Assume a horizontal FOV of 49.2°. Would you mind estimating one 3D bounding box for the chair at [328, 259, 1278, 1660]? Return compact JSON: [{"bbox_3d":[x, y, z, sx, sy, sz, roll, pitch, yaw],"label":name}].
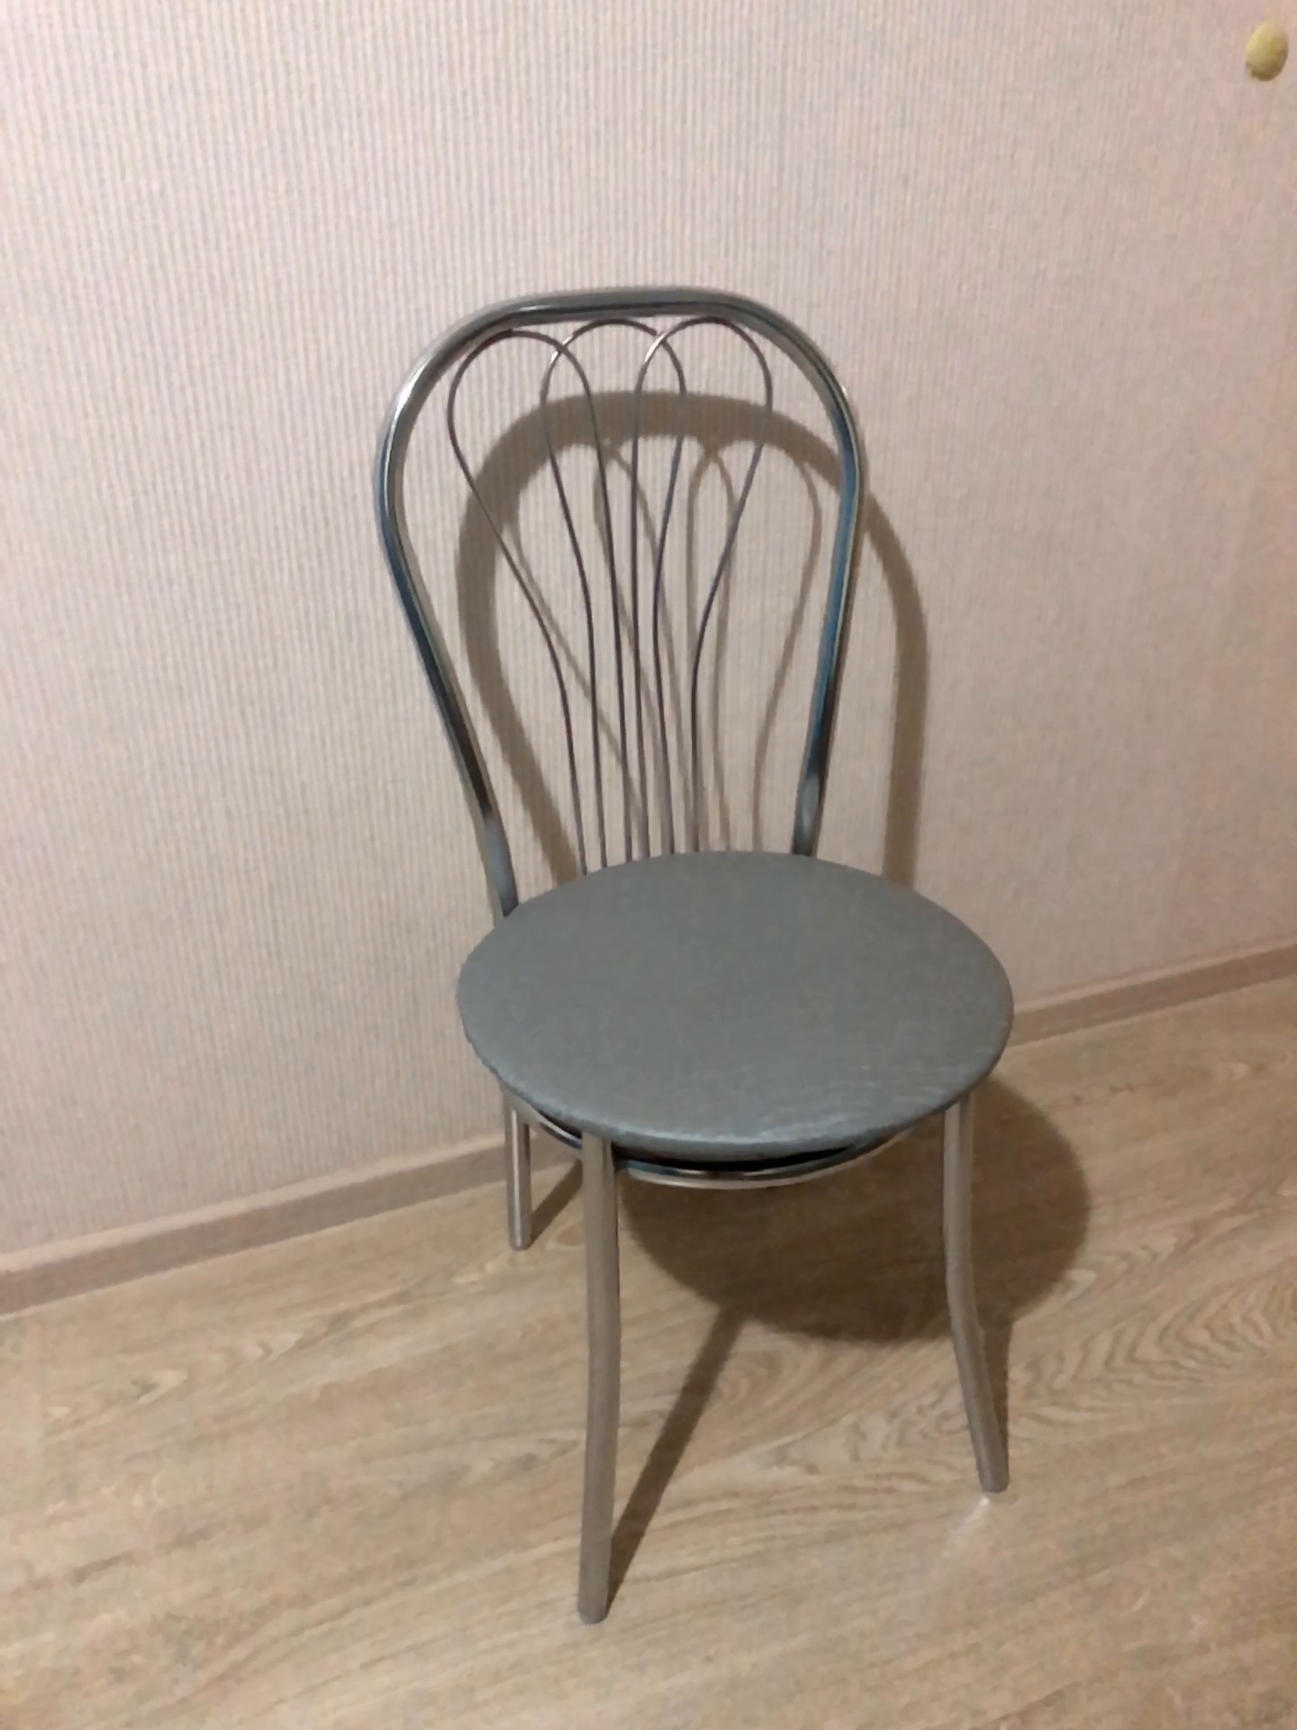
[{"bbox_3d":[0.042,0.040,1.022,0.400,0.825,0.472,-8,29,-15],"label":"chair"}]
